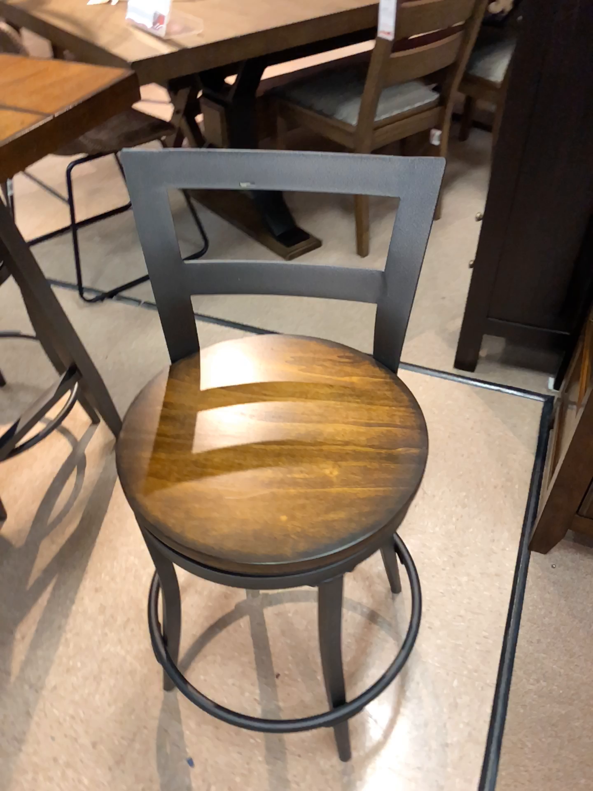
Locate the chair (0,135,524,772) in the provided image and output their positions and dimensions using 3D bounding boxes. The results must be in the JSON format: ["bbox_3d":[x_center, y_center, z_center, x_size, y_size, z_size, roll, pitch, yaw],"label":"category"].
[{"bbox_3d":[-0.044,0.125,0.938,0.490,0.805,0.463,4,43,6],"label":"chair"}]
